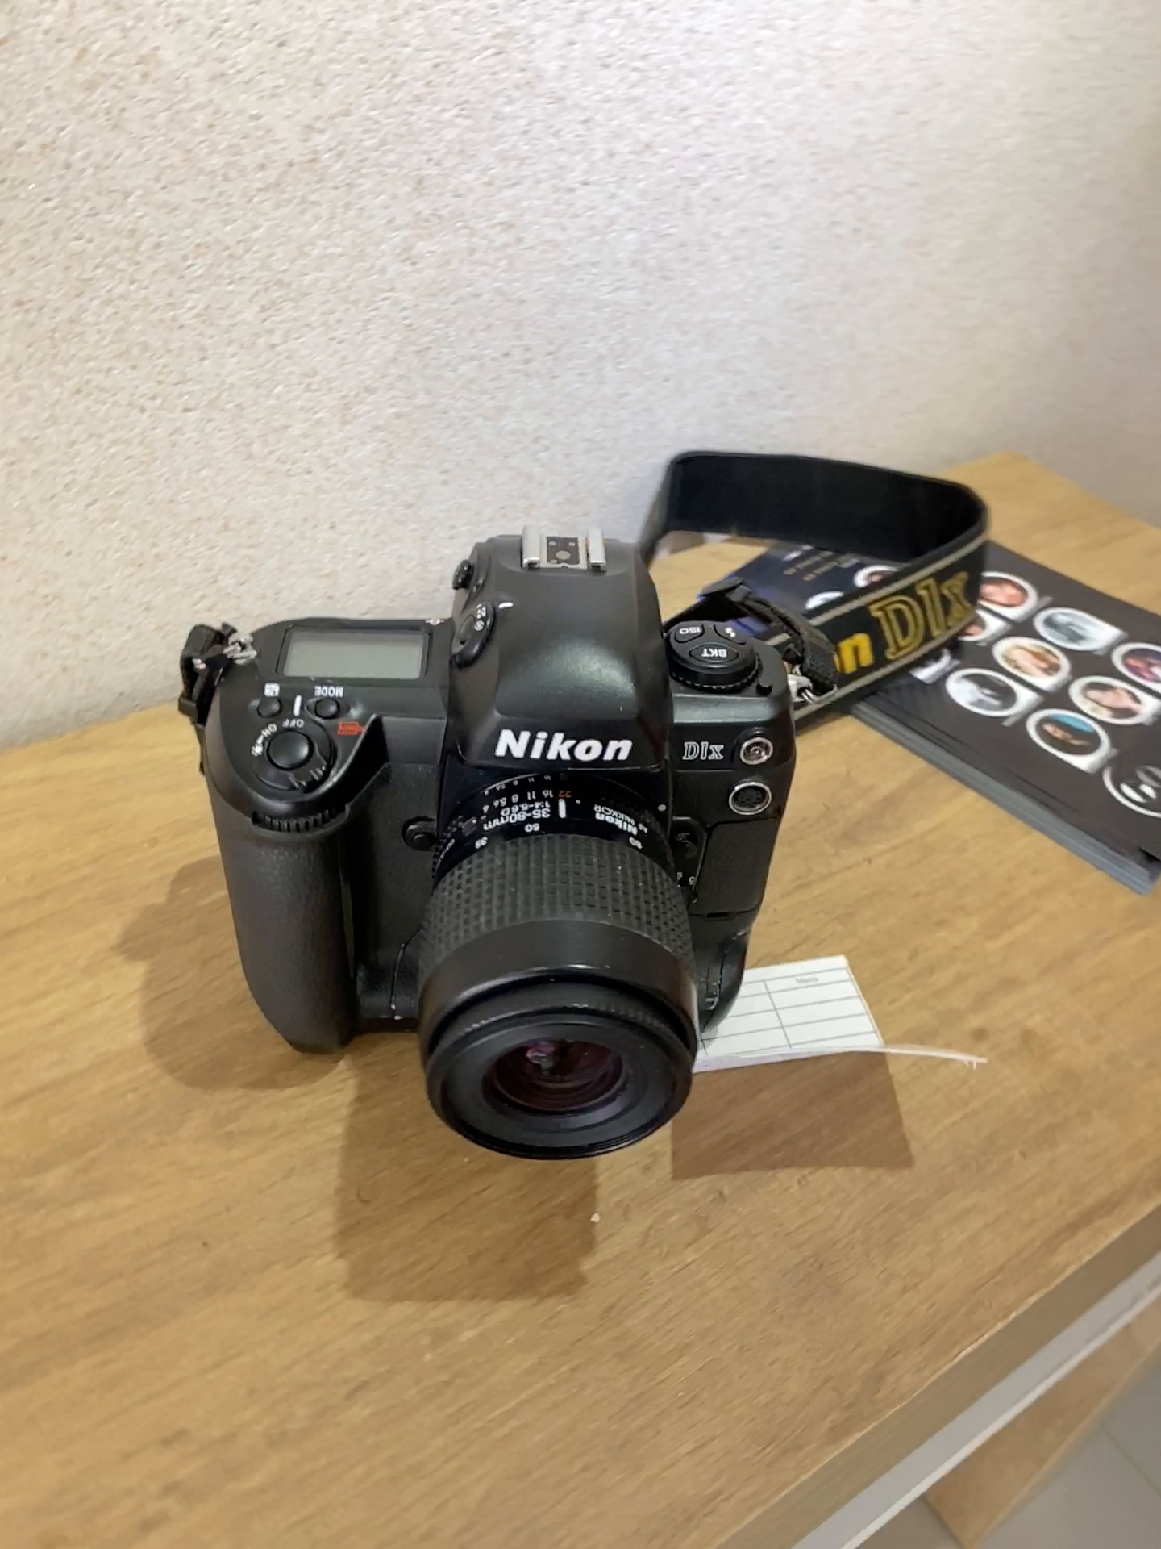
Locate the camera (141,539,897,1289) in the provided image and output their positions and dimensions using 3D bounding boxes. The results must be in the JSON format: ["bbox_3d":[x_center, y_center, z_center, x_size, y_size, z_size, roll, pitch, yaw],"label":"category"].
[{"bbox_3d":[-0.020,0.032,0.340,0.150,0.129,0.161,-1,42,-6],"label":"camera"}]
